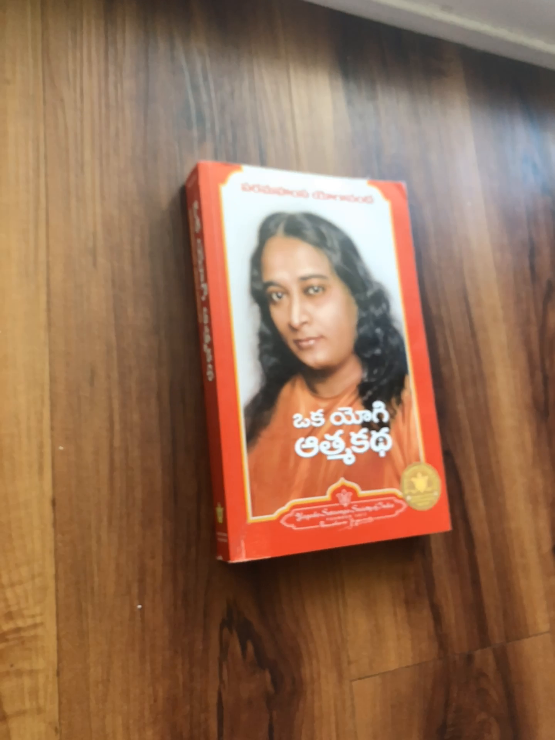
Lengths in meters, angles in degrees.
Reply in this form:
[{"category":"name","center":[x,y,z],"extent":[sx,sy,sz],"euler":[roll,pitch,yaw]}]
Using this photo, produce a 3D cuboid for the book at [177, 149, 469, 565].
[{"category":"book","center":[0.025,-0.011,0.356],"extent":[0.148,0.030,0.214],"euler":[-1,80,-23]}]
